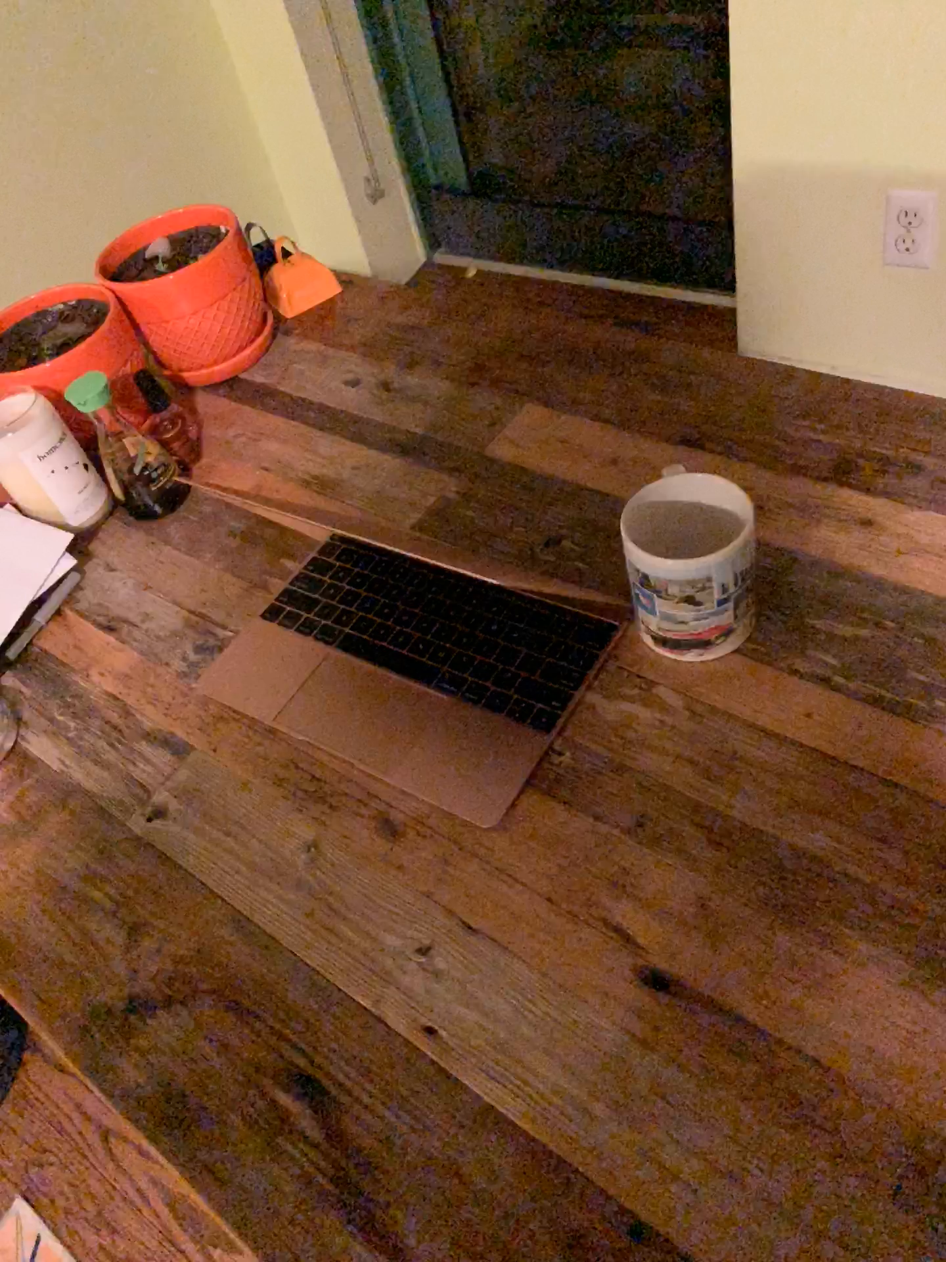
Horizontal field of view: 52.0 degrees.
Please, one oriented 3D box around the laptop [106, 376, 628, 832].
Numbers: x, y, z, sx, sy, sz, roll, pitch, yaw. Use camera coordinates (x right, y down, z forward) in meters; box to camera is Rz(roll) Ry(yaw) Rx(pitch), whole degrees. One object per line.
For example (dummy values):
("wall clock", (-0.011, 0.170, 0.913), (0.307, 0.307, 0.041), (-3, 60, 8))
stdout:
("laptop", (-0.067, -0.033, 0.671), (0.279, 0.145, 0.194), (20, 59, 31))
